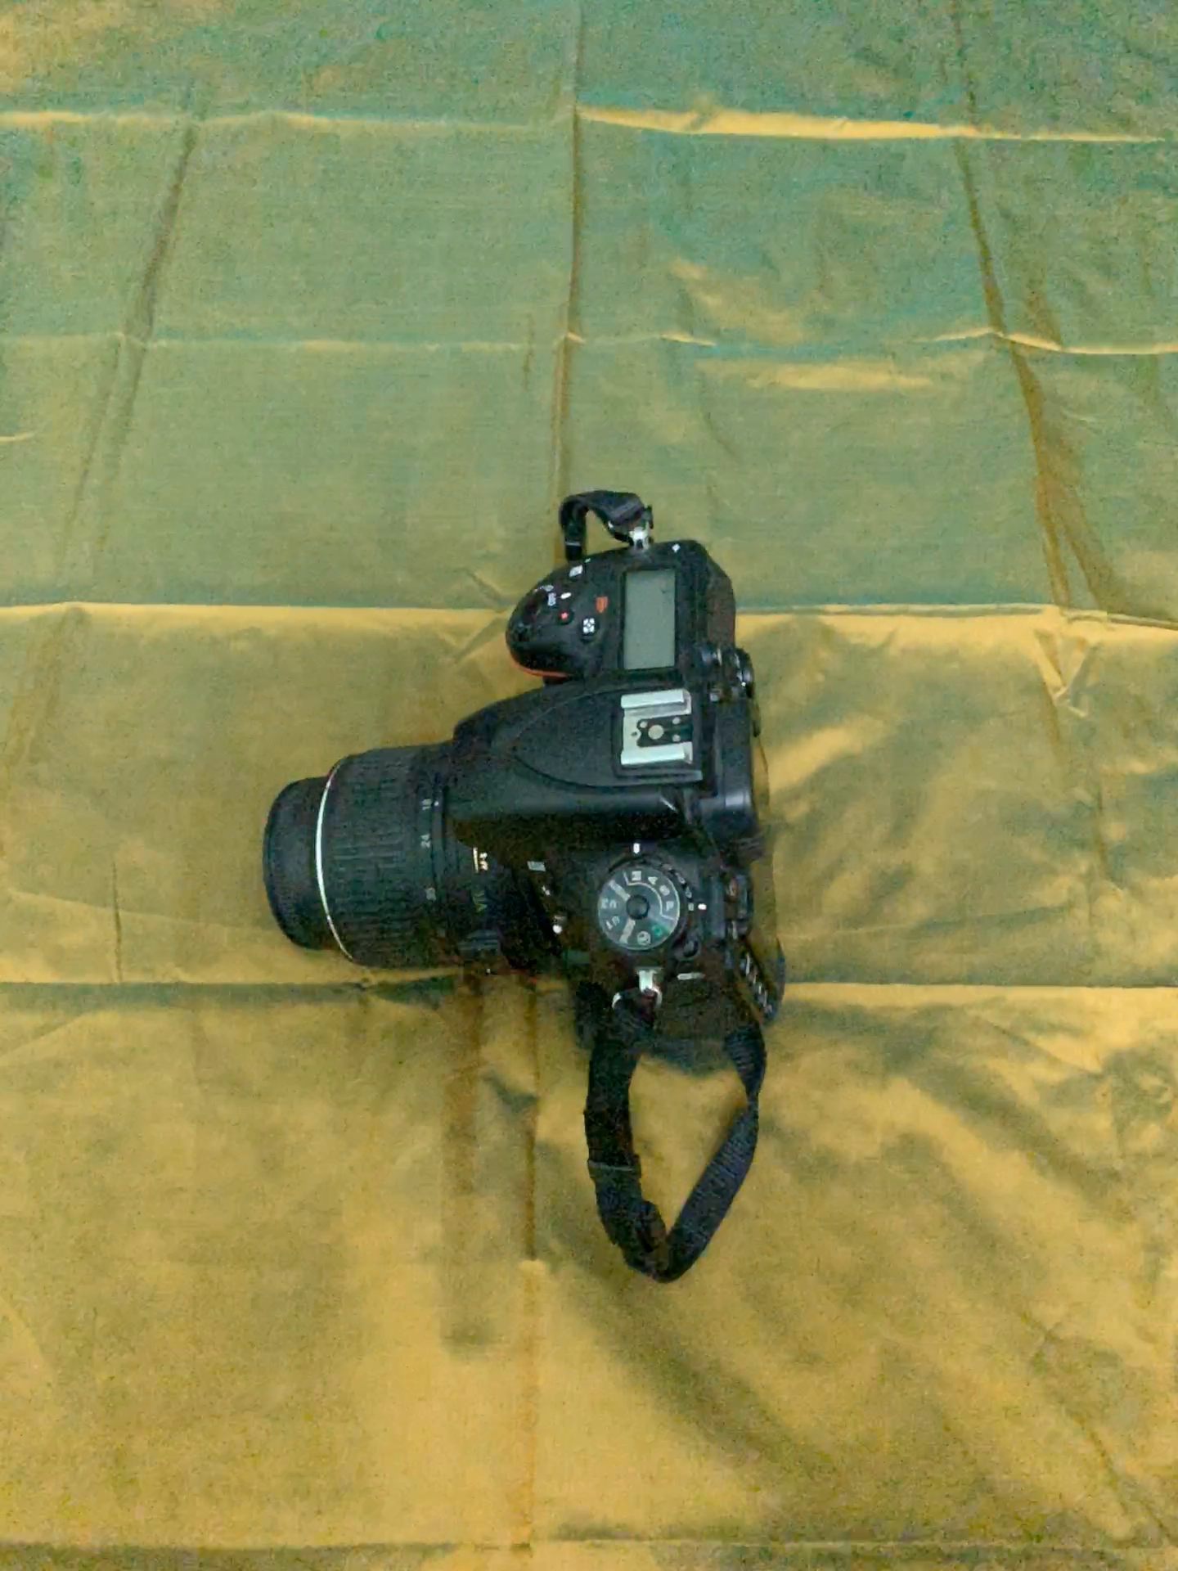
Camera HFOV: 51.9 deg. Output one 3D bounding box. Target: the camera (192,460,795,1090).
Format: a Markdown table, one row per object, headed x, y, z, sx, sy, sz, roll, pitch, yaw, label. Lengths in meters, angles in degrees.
| x | y | z | sx | sy | sz | roll | pitch | yaw | label |
| --- | --- | --- | --- | --- | --- | --- | --- | --- | --- |
| -0.016 | 0.006 | 0.363 | 0.131 | 0.120 | 0.135 | -6 | 60 | 15 | camera |
